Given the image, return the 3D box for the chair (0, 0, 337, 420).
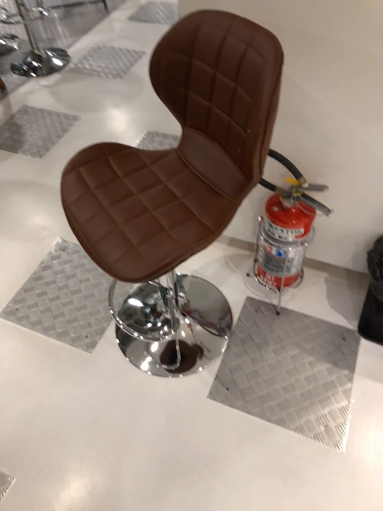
[{"bbox_3d":[-0.085,-0.086,1.121,0.491,0.924,0.543,-23,52,-15],"label":"chair"}]
